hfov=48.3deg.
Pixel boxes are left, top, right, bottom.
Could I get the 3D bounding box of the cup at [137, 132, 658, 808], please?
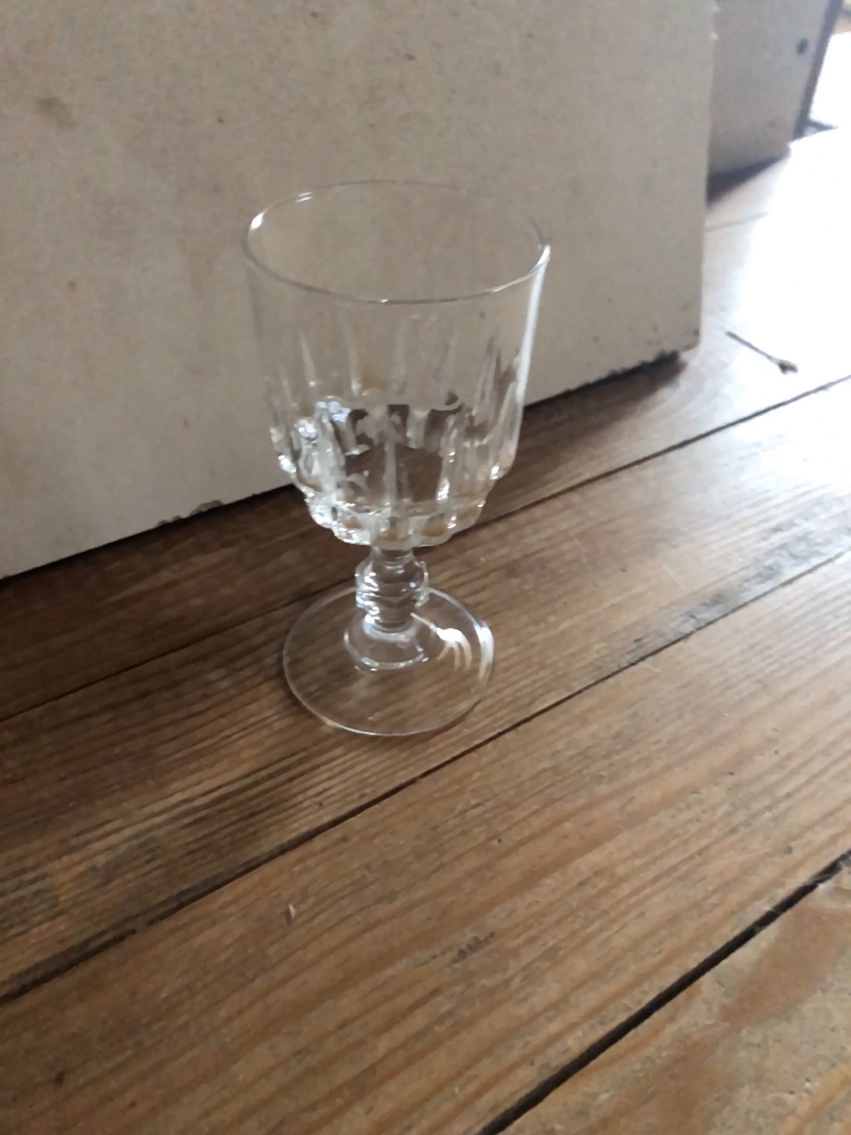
[{"bbox_3d":[-0.009,-0.022,0.217,0.070,0.119,0.070,2,40,-2],"label":"cup"}]
